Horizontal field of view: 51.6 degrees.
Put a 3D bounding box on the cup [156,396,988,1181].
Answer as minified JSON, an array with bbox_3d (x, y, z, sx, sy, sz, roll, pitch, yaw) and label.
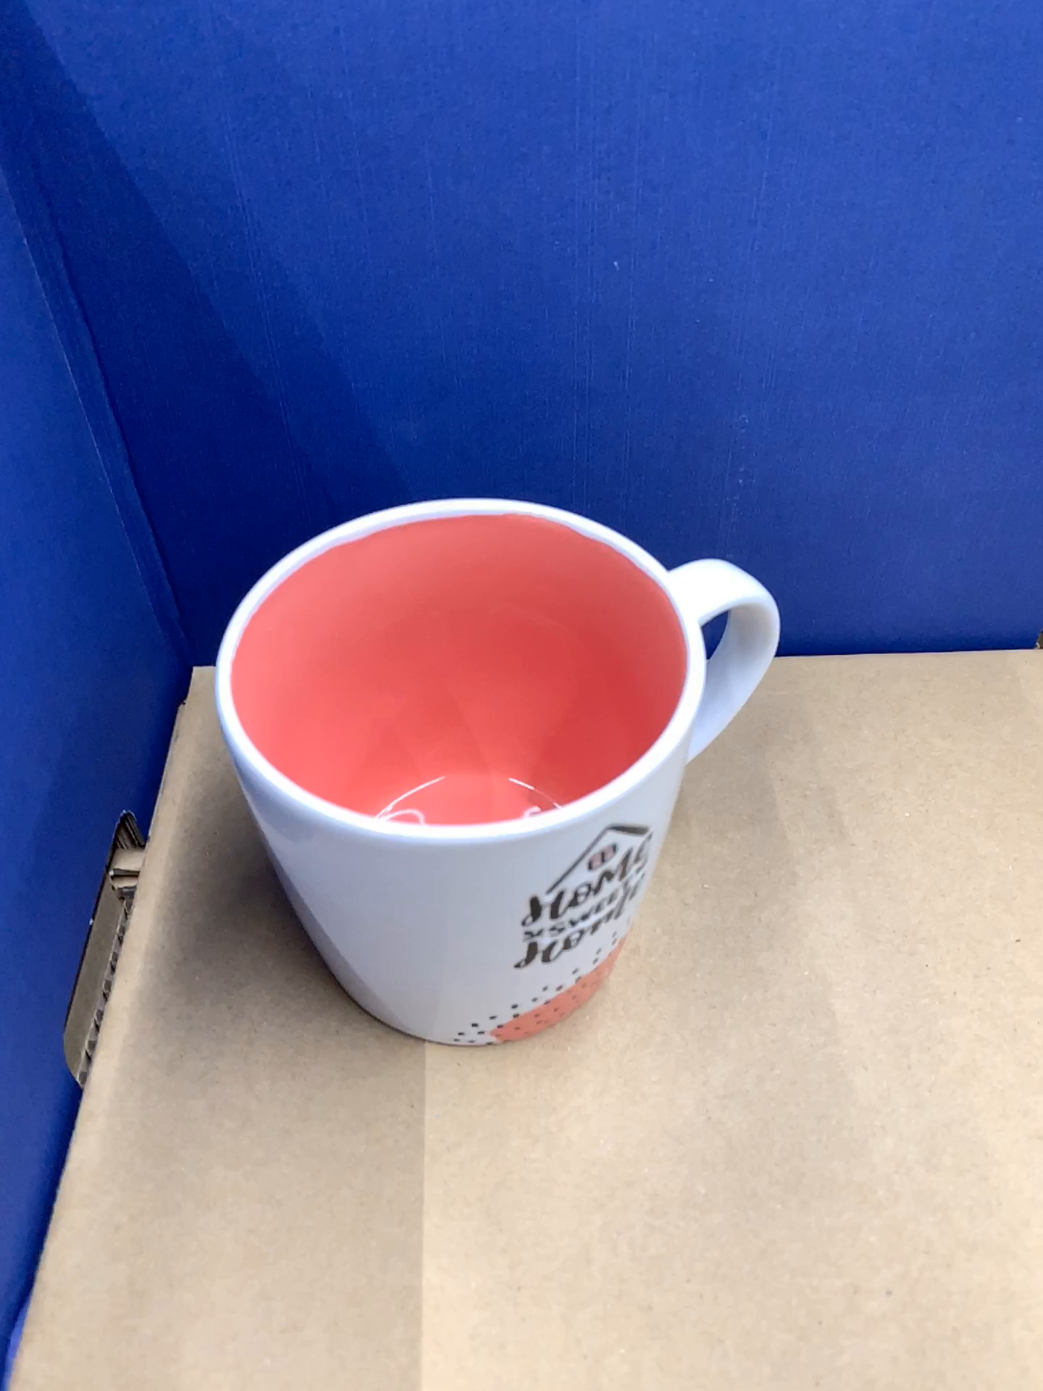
[{"bbox_3d":[0.010,0.009,0.207,0.115,0.070,0.083,-31,51,-26],"label":"cup"}]
